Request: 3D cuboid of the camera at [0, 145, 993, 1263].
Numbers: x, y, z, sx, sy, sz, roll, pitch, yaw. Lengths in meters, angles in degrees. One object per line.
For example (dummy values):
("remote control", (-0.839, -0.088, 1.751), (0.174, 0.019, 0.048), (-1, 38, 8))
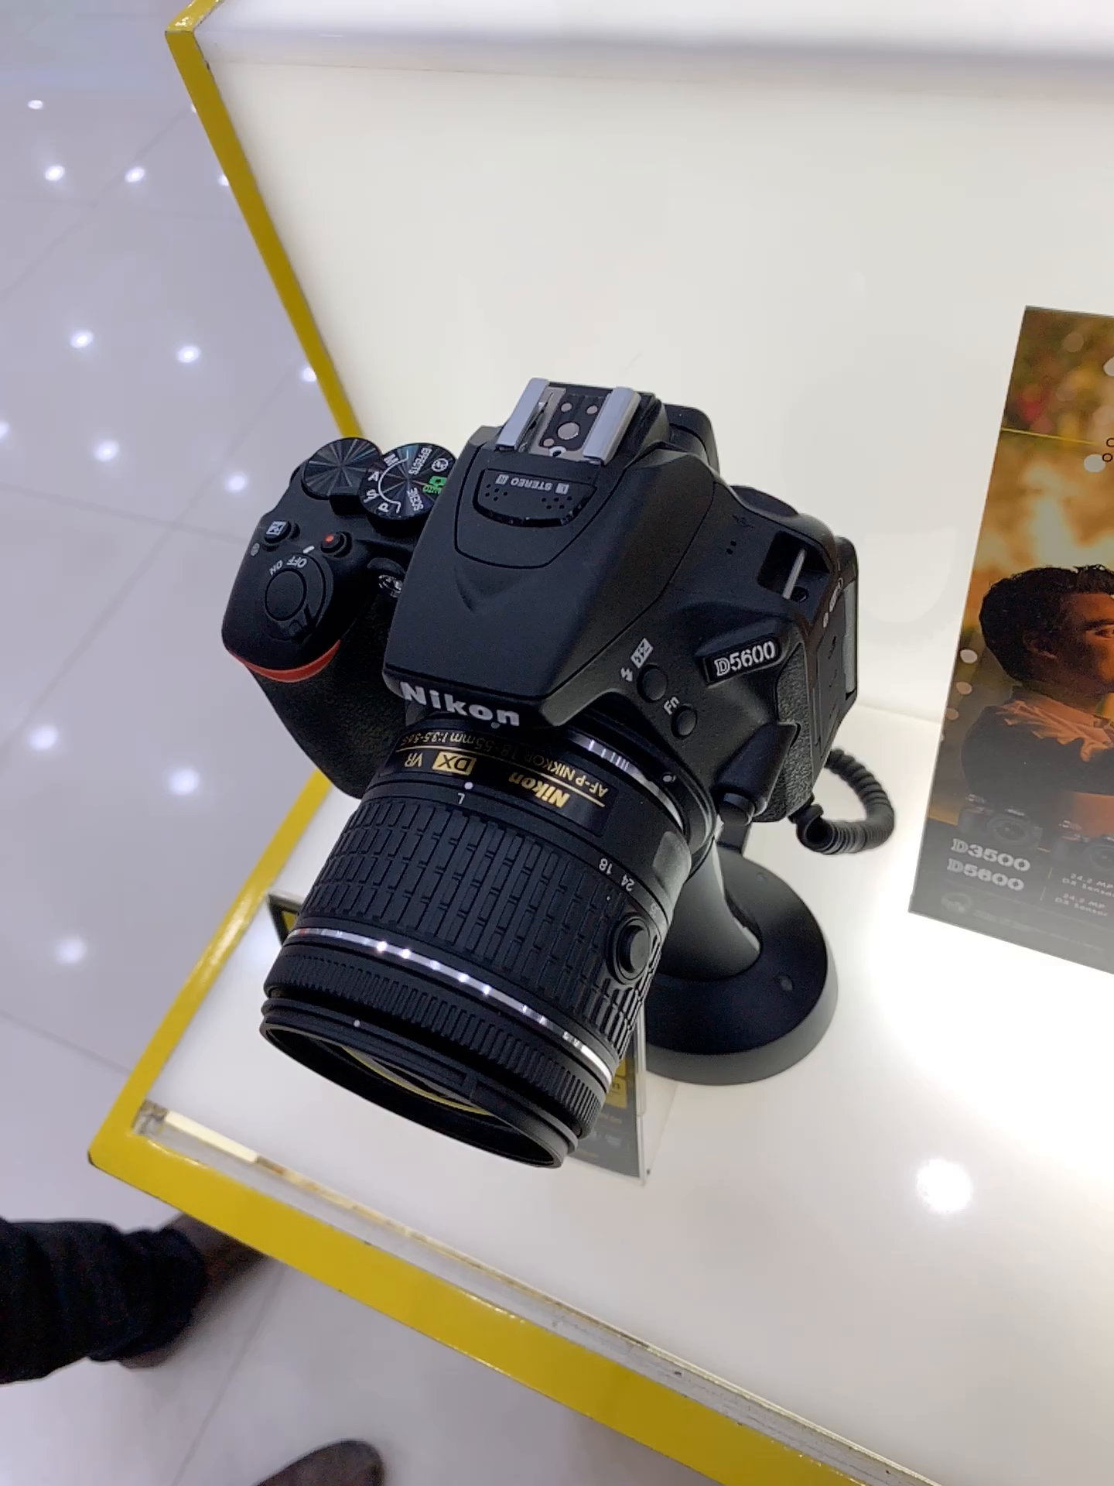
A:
("camera", (-0.004, -0.017, 0.210), (0.120, 0.090, 0.160), (13, 61, 21))
